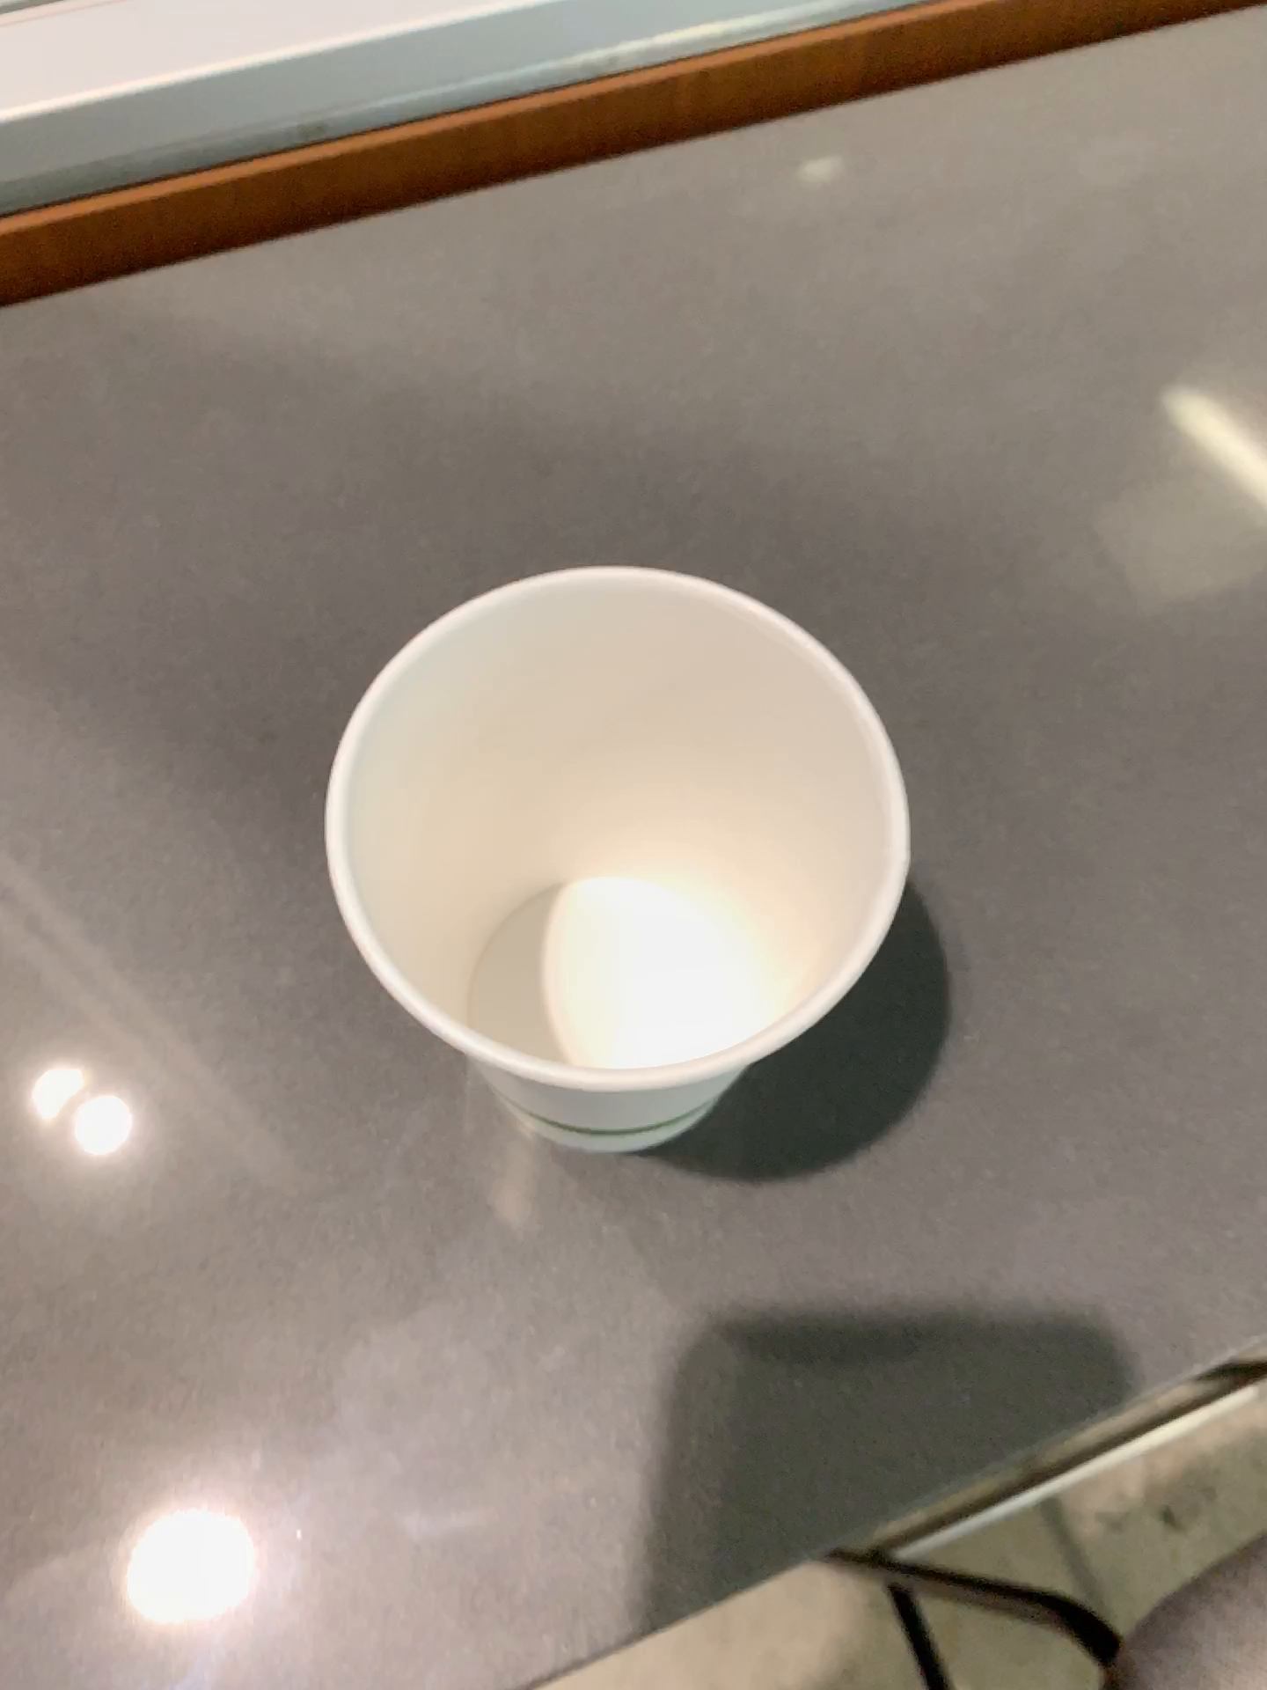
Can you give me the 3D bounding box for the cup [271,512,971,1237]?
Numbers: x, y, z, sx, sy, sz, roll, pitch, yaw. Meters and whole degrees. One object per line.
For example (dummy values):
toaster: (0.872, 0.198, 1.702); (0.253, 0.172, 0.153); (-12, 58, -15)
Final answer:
cup: (-0.001, 0.012, 0.236); (0.090, 0.100, 0.090); (1, 63, -1)
